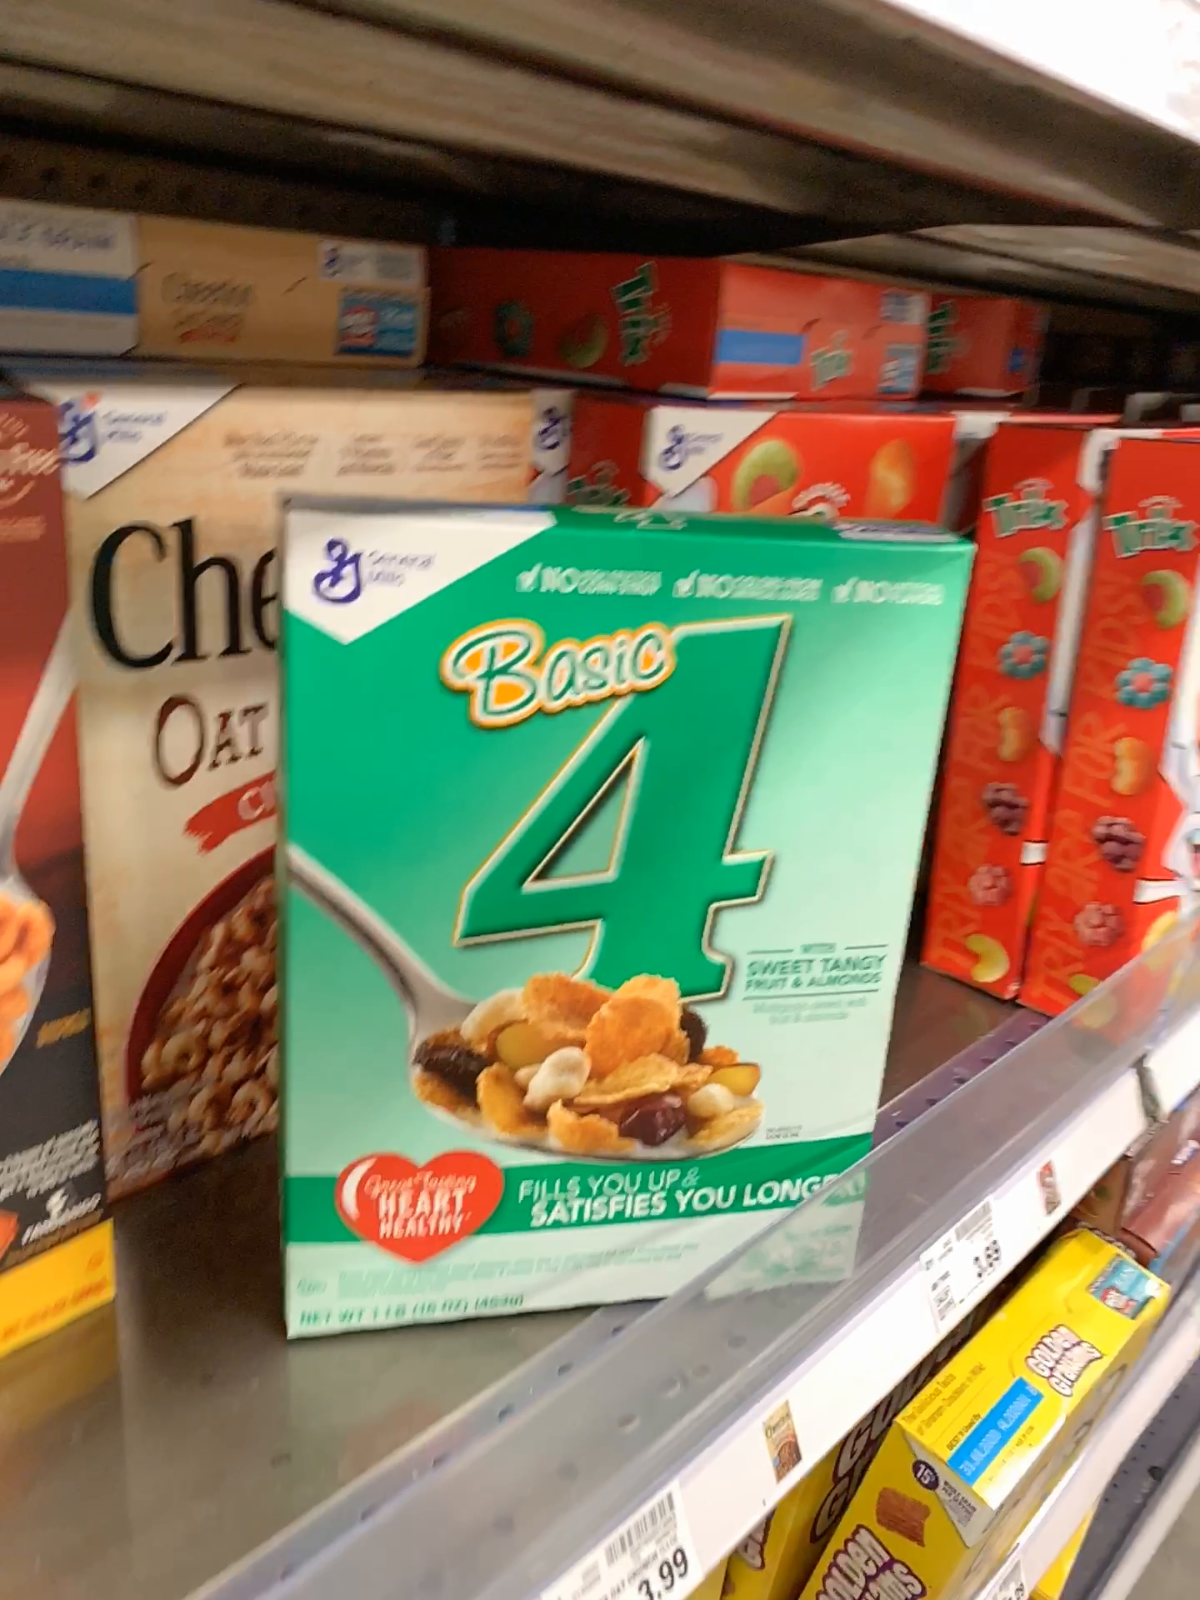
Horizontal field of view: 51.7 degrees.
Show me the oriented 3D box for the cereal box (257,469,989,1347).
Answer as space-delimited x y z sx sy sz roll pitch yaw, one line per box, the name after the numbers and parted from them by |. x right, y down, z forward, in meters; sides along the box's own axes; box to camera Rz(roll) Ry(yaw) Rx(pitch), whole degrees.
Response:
-0.002 0.037 0.390 0.200 0.259 0.050 0 19 -14 | cereal box
